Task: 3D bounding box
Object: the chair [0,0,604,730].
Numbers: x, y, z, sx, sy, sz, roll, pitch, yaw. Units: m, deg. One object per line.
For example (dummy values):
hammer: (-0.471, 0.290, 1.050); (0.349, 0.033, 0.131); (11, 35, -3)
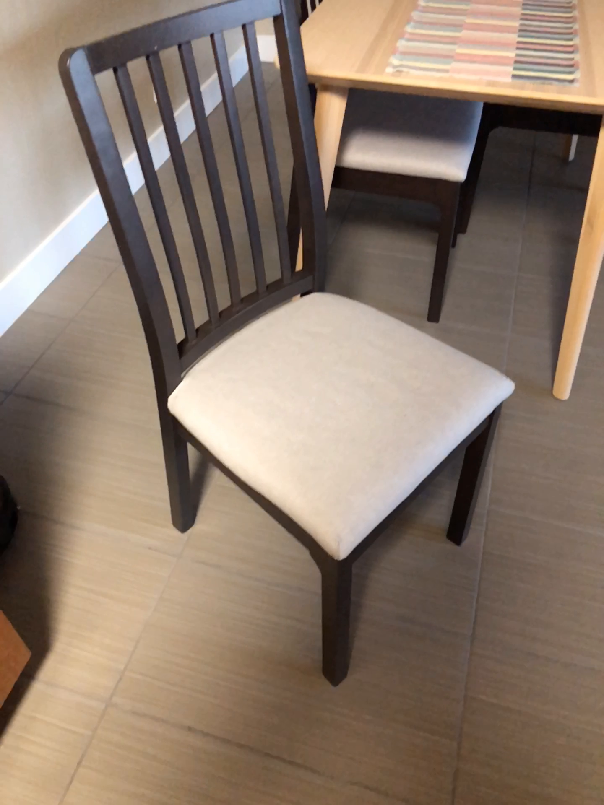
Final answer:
chair: (-0.003, -0.003, 1.153); (0.481, 1.125, 0.511); (-34, 54, -29)
